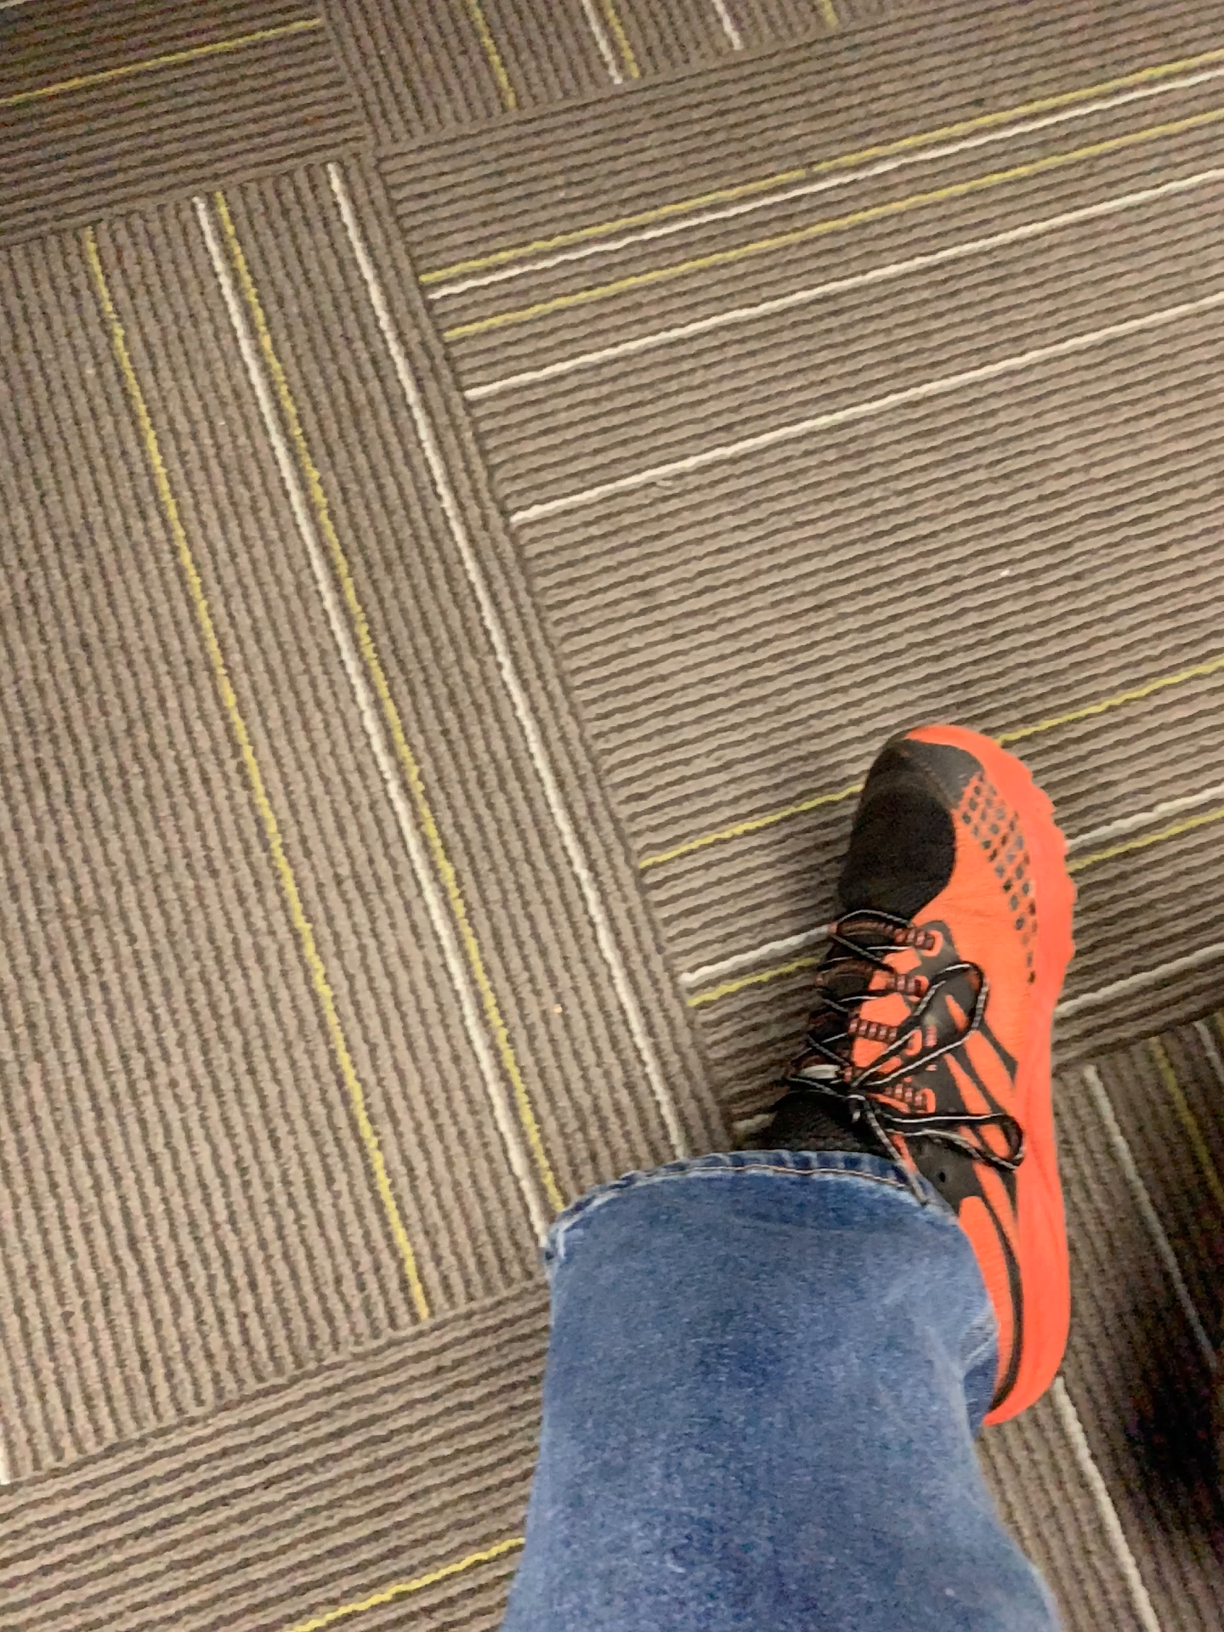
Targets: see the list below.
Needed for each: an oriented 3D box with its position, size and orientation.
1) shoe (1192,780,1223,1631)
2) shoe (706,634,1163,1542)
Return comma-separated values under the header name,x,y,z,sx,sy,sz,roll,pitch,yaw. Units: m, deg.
name,x,y,z,sx,sy,sz,roll,pitch,yaw
shoe,0.324,0.160,0.524,0.108,0.138,0.317,6,78,16
shoe,0.126,0.100,0.516,0.108,0.128,0.307,11,74,-44
